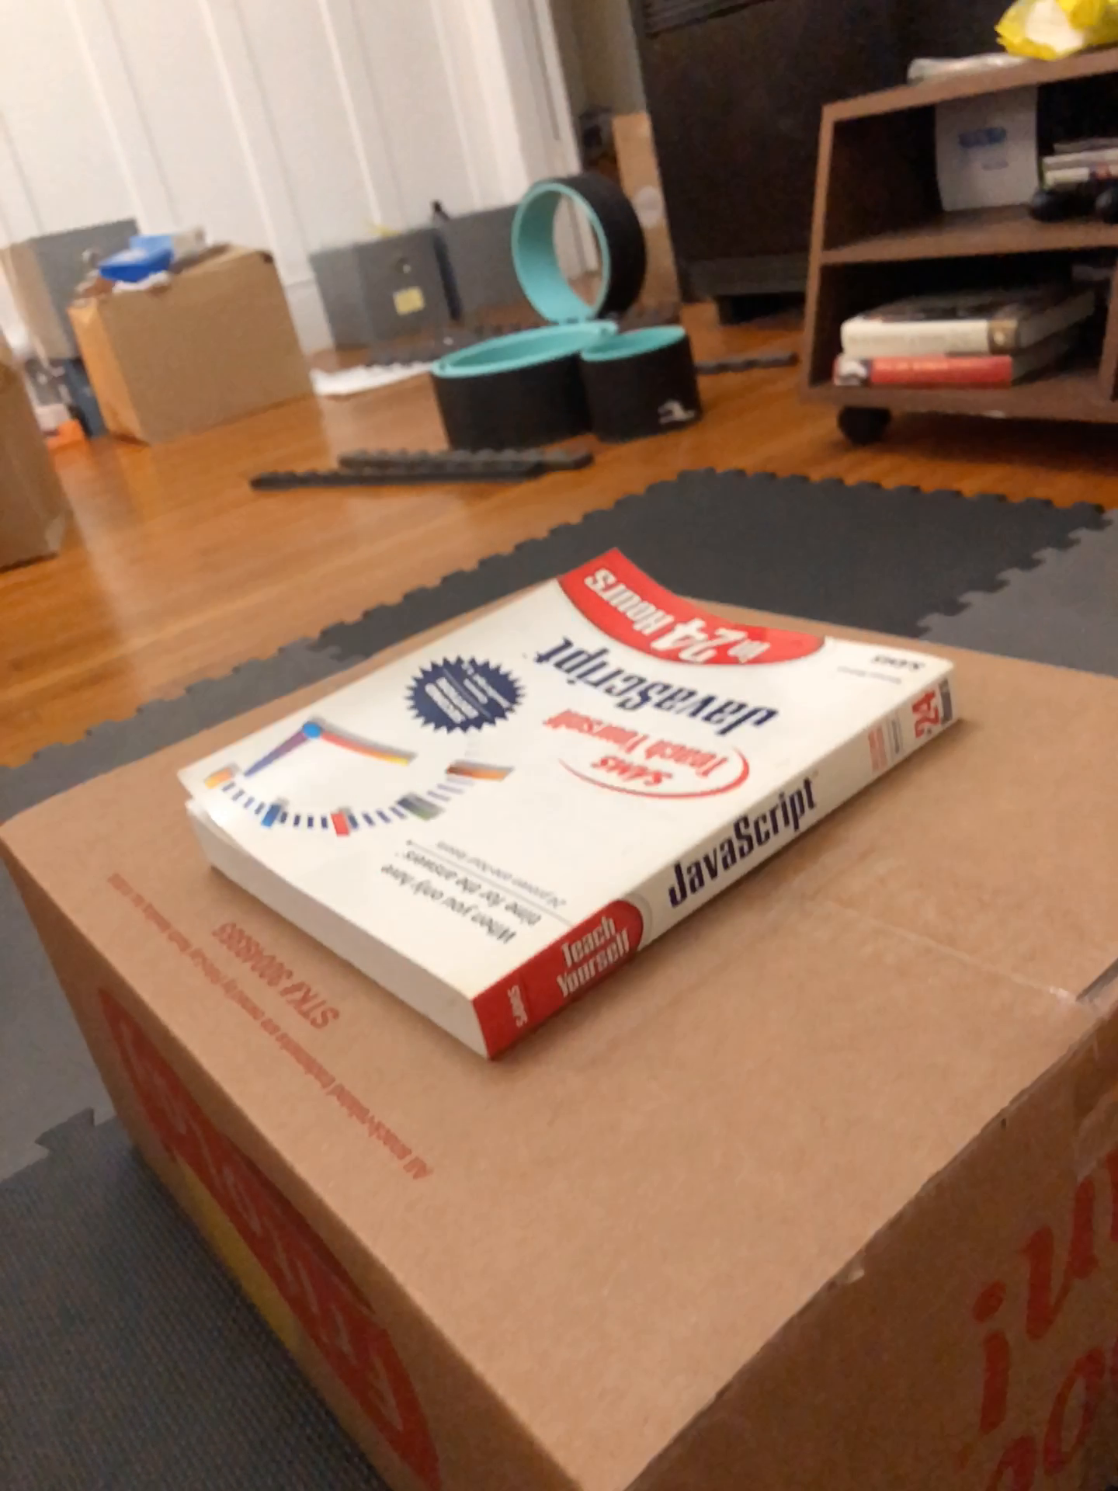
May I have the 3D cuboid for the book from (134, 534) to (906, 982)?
[{"bbox_3d":[-0.018,-0.018,0.499,0.241,0.030,0.200,-31,31,-30],"label":"book"}]
